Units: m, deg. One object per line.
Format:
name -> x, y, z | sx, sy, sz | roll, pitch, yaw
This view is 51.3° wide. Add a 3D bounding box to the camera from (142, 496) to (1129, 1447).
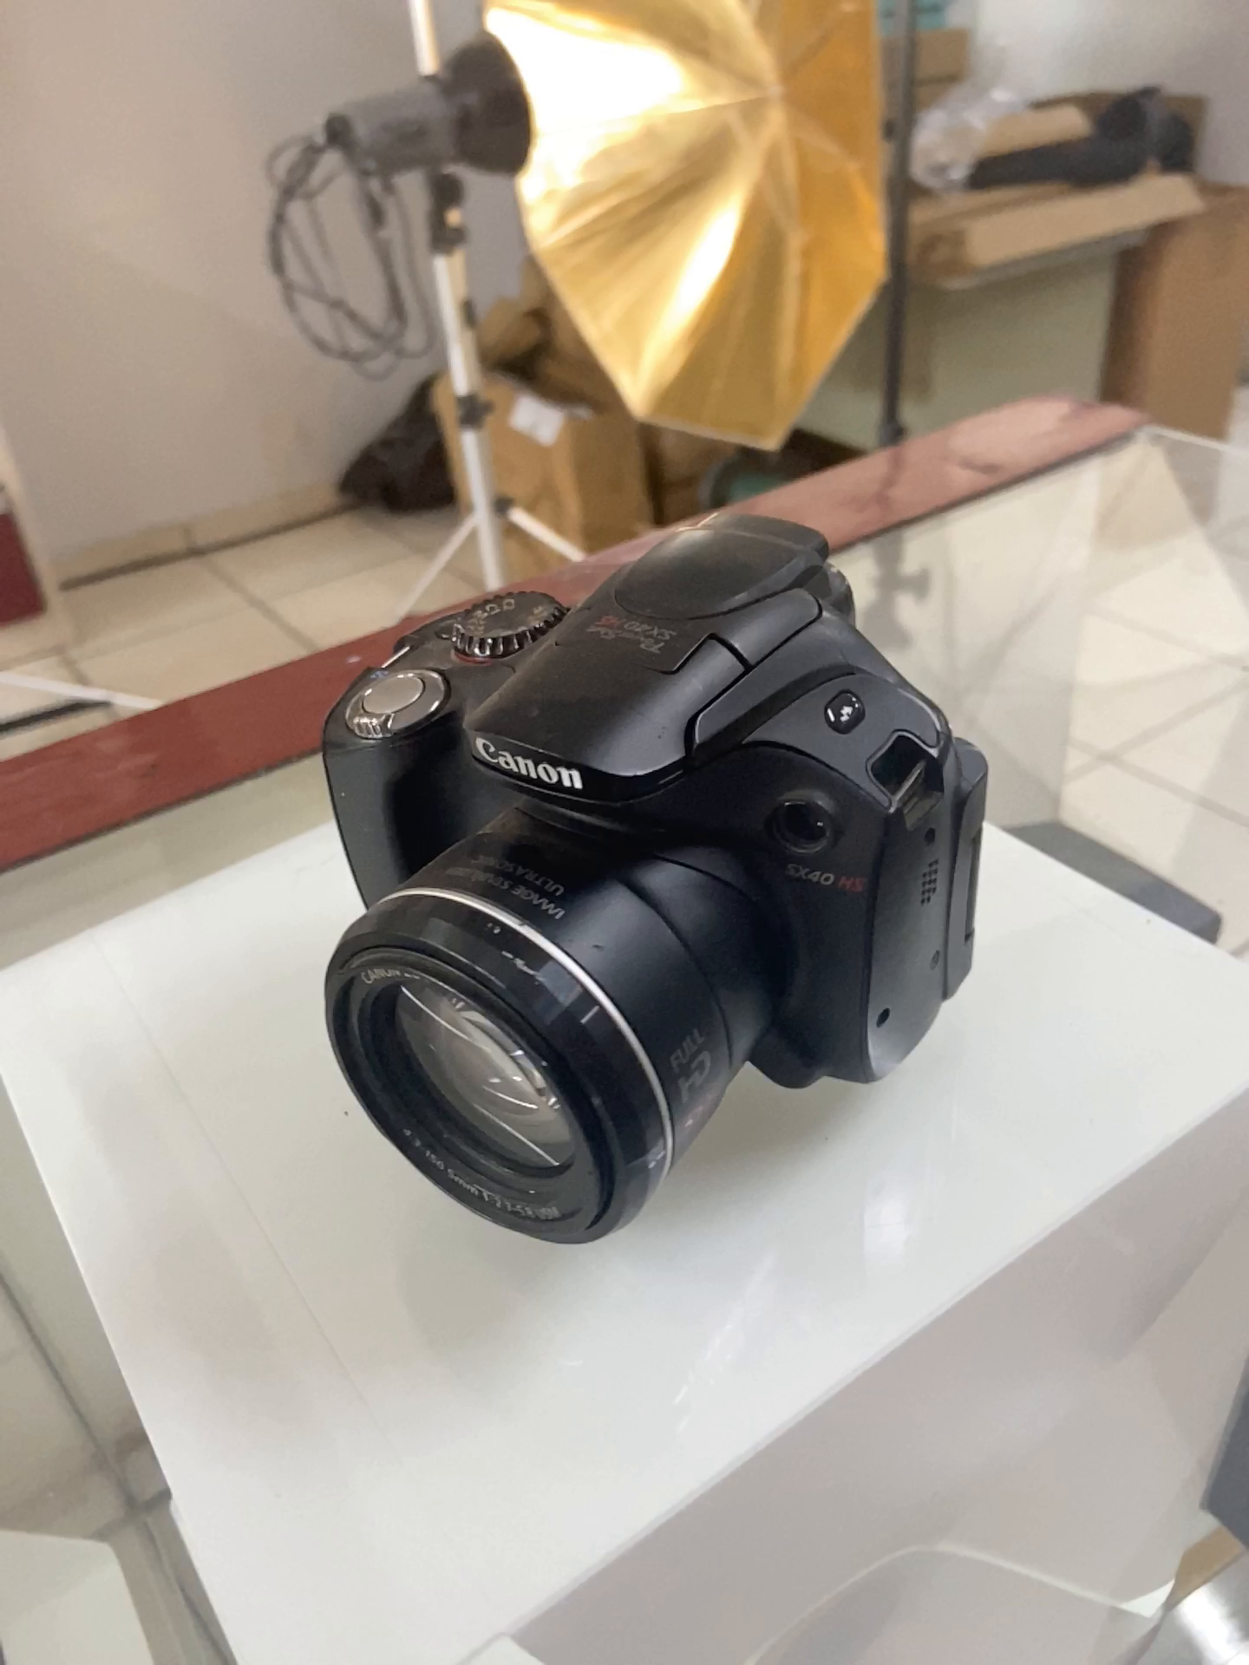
camera -> 0.013, 0.008, 0.254 | 0.120, 0.089, 0.141 | 15, 39, 28
